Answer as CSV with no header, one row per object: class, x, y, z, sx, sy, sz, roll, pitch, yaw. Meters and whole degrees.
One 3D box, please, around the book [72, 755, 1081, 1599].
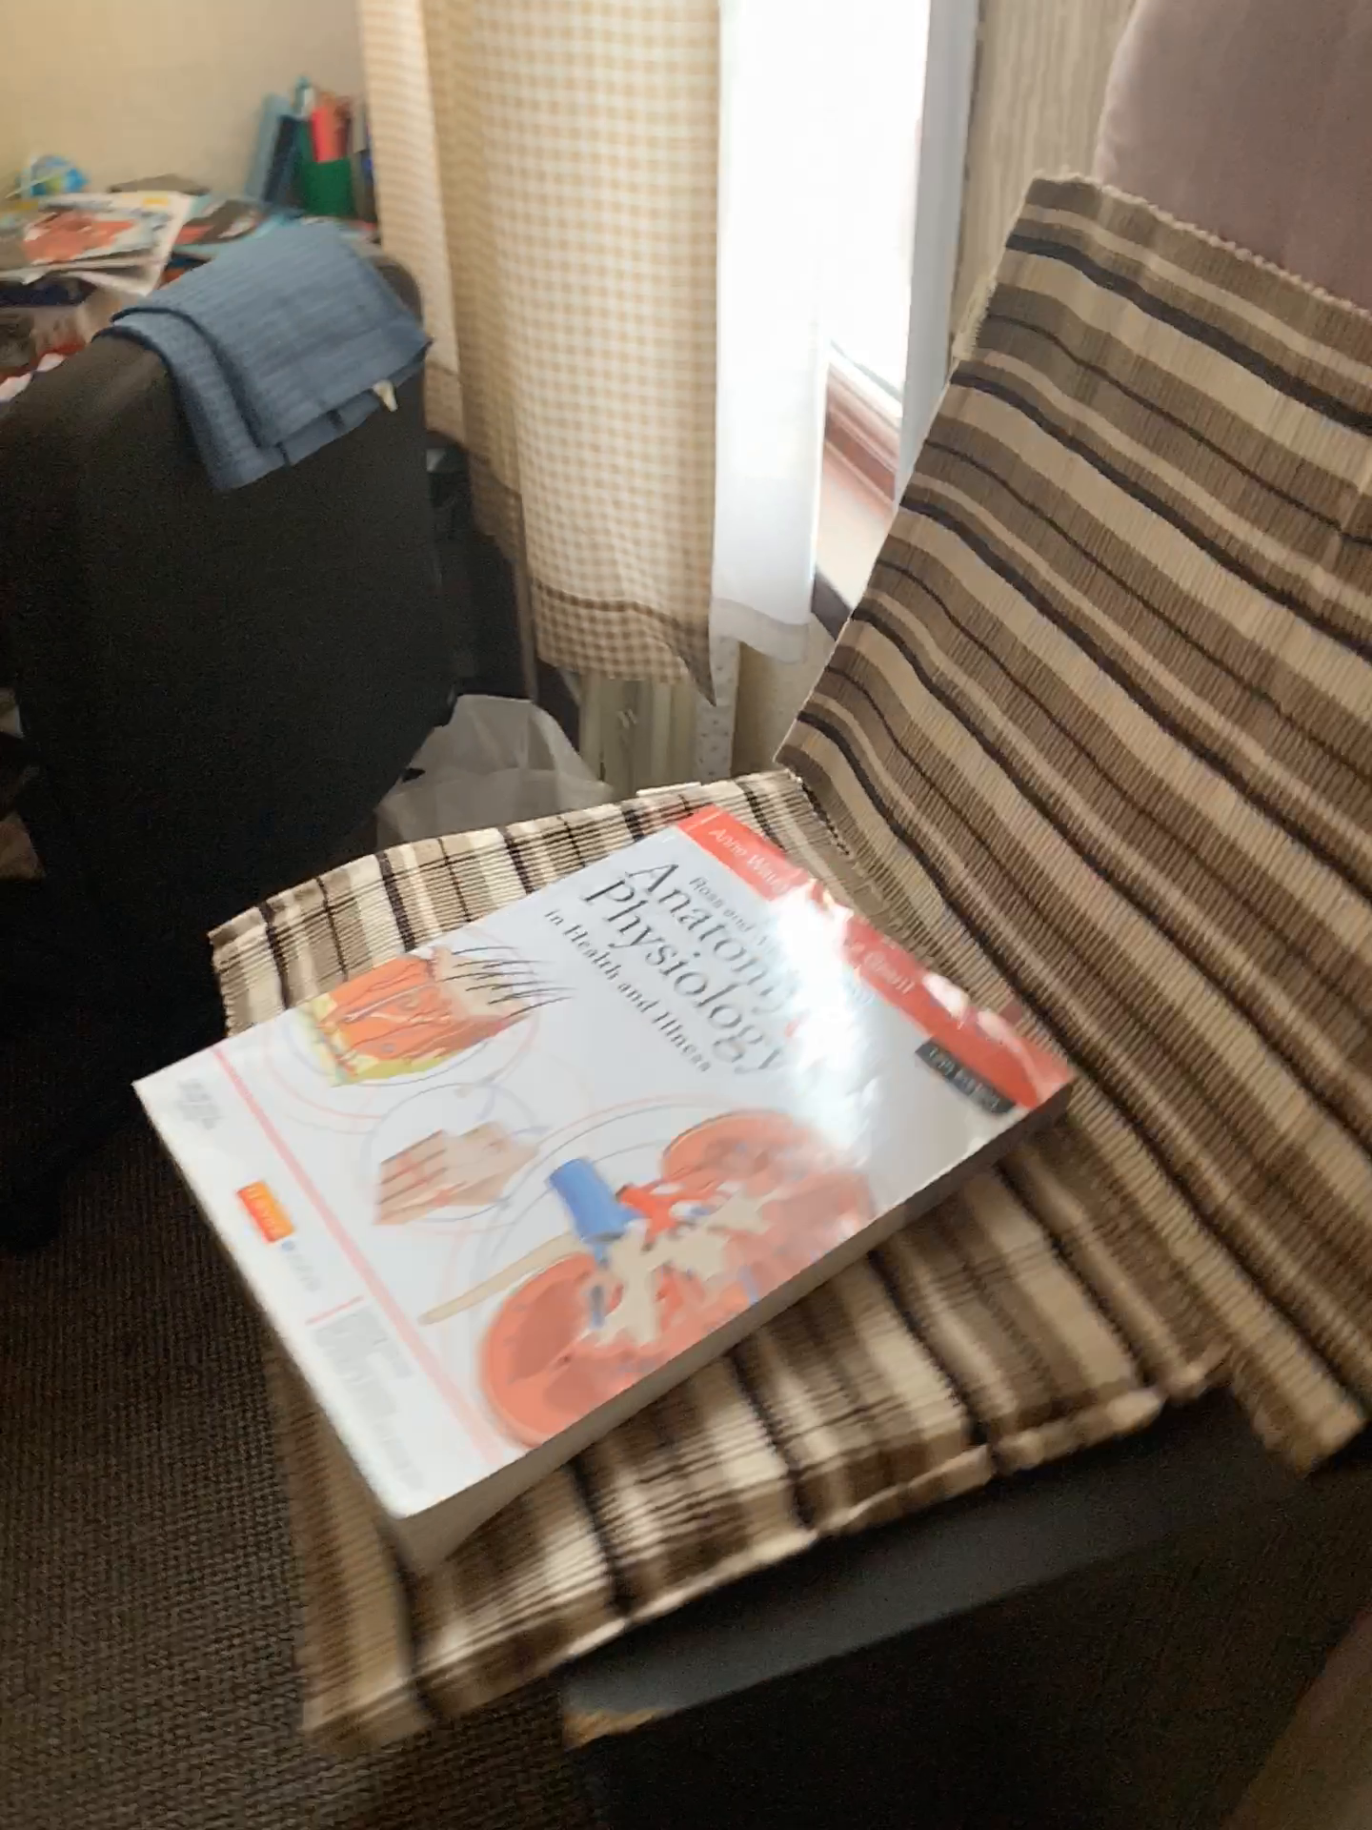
book,-0.043,0.060,0.521,0.281,0.040,0.242,-27,46,-27
